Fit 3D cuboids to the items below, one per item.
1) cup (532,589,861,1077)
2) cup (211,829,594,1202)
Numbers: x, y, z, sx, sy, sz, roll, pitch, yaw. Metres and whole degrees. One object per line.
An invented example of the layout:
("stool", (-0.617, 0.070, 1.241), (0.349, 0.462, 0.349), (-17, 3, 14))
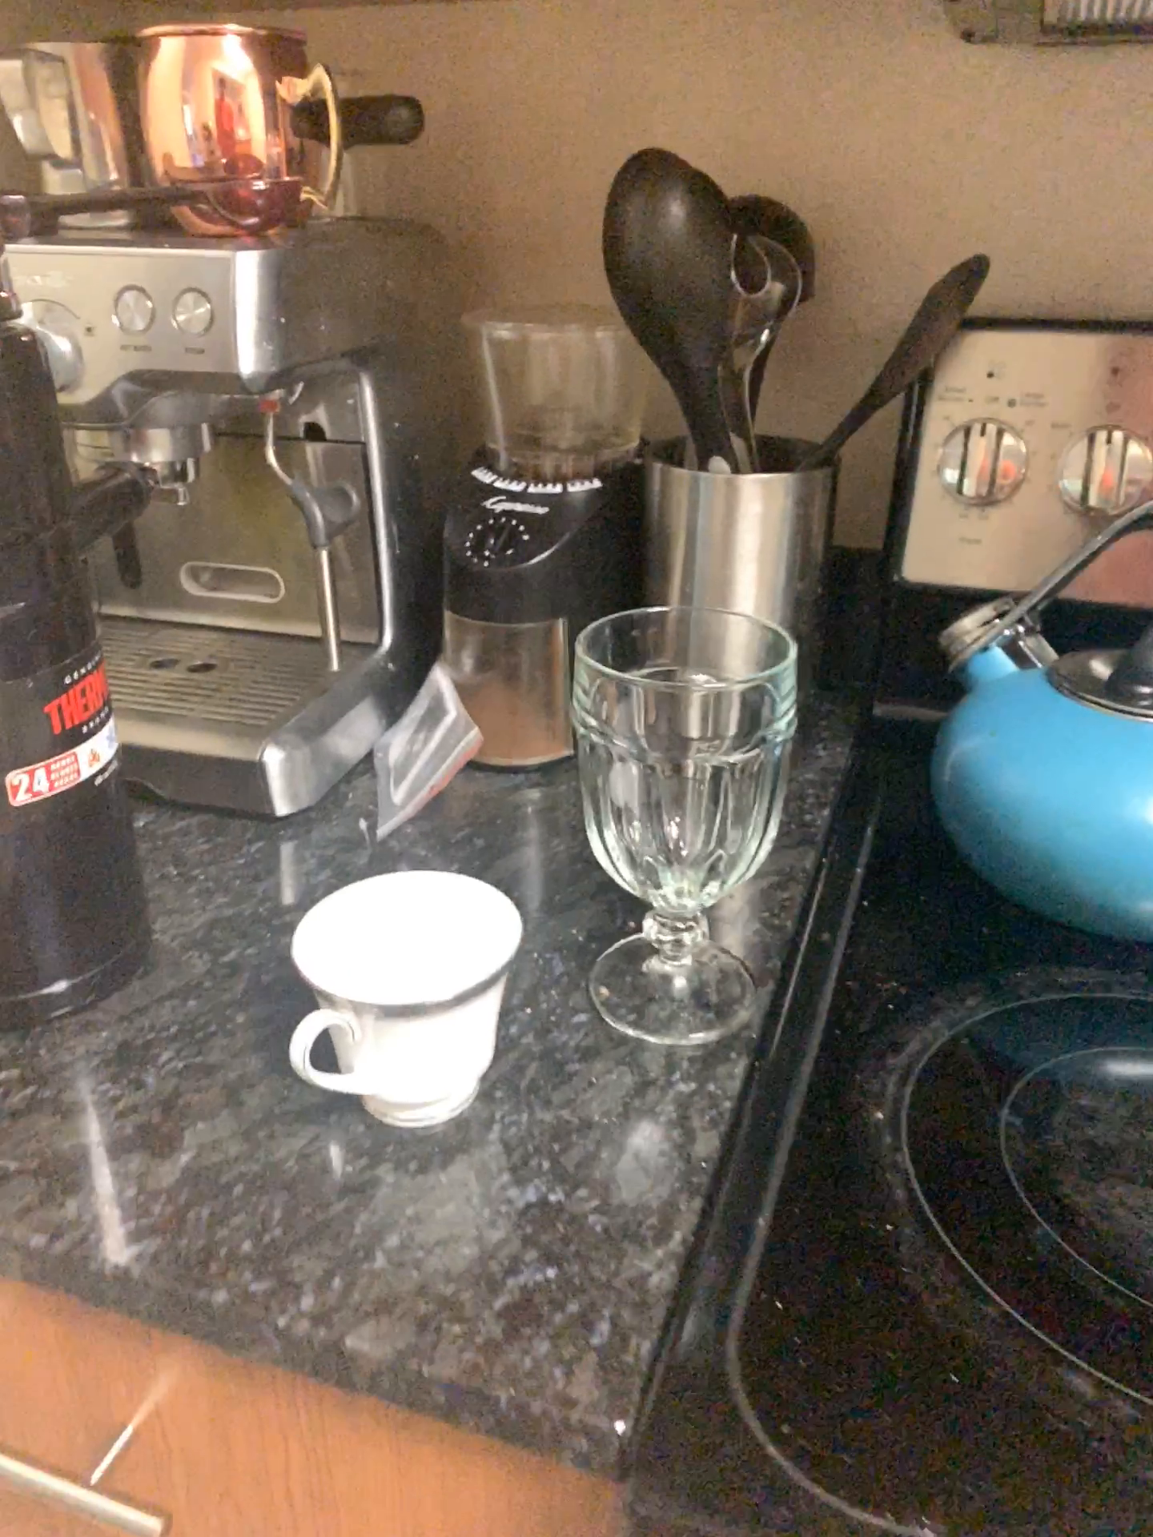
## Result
("cup", (0.053, 0.023, 0.536), (0.100, 0.169, 0.110), (15, 29, 27))
("cup", (-0.064, 0.090, 0.473), (0.100, 0.070, 0.110), (15, 29, 27))
